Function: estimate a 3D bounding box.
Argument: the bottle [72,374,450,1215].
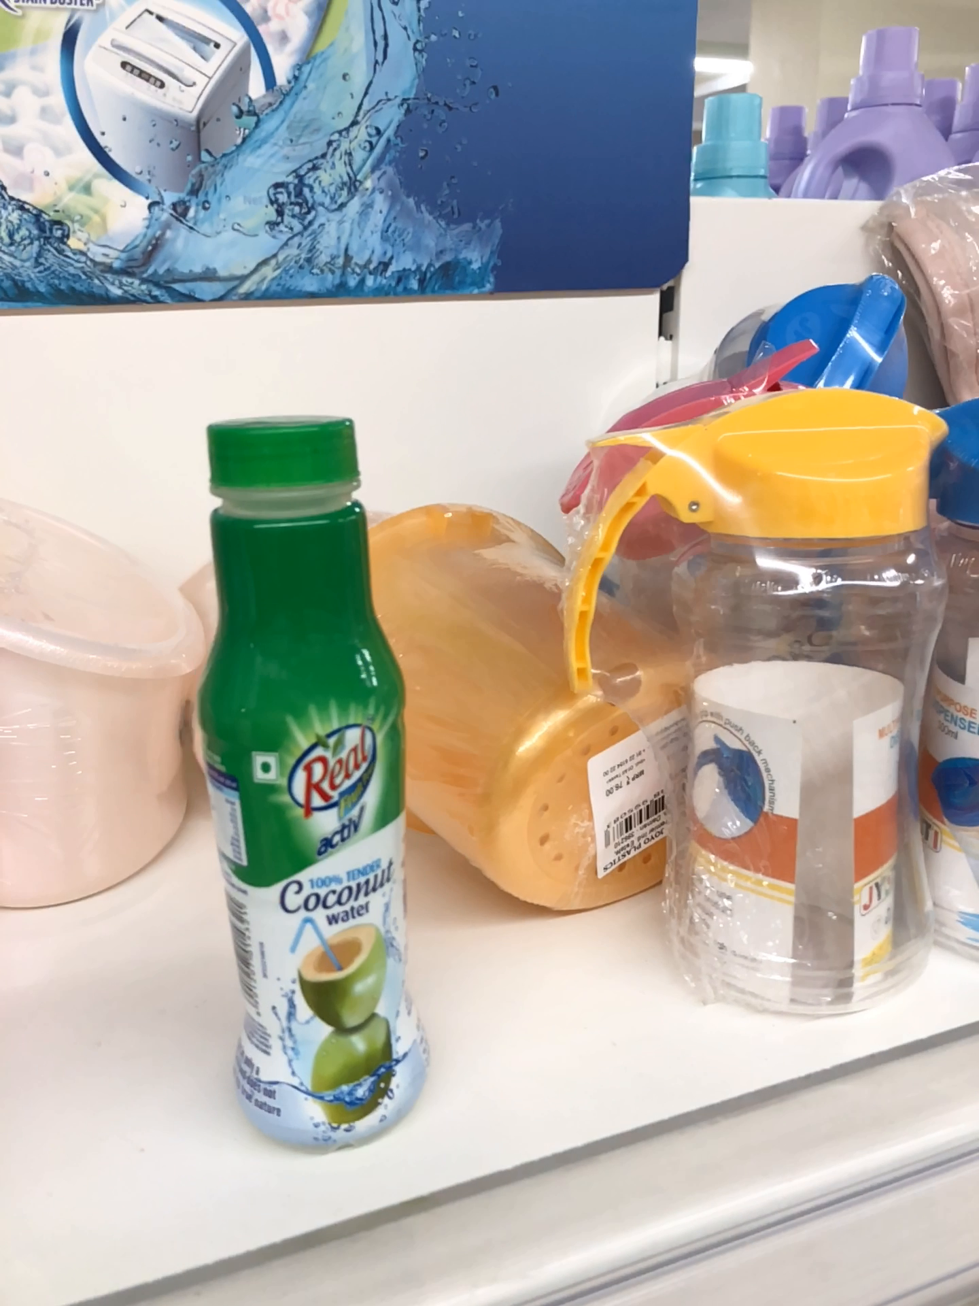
[{"bbox_3d":[-0.052,0.029,0.257,0.060,0.179,0.060,-1,18,0],"label":"bottle"}]
